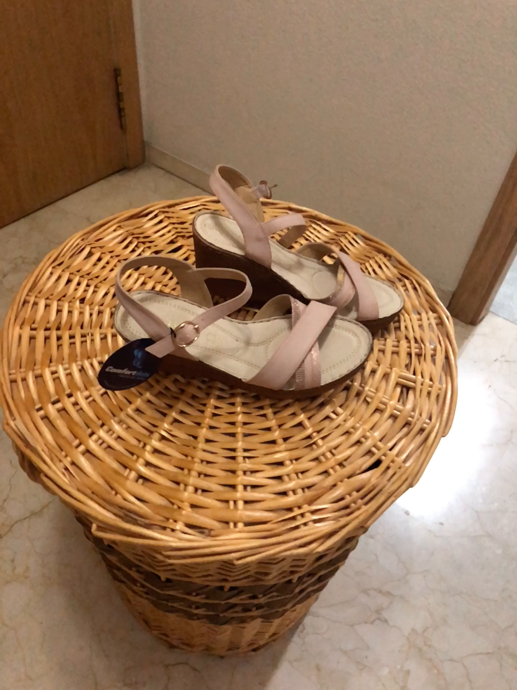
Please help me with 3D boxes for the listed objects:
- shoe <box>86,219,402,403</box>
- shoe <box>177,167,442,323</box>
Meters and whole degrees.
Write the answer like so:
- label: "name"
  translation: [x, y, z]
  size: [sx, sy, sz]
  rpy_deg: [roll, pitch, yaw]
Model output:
- label: "shoe"
  translation: [-0.011, -0.032, 0.538]
  size: [0.260, 0.104, 0.100]
  rpy_deg: [7, 46, 1]
- label: "shoe"
  translation: [0.047, -0.107, 0.612]
  size: [0.251, 0.100, 0.112]
  rpy_deg: [4, 46, -2]
